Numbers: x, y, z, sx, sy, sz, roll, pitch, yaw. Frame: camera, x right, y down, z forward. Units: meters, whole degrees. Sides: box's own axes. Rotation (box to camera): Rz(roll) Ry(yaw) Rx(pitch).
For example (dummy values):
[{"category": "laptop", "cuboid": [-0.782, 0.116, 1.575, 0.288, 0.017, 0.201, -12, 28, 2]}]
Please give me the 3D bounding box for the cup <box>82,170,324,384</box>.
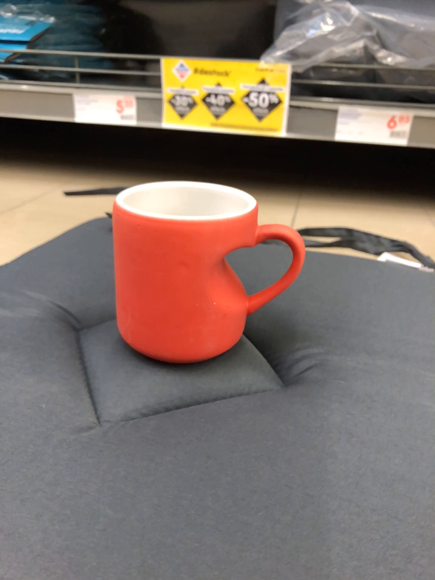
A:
[{"category": "cup", "cuboid": [-0.003, -0.015, 0.295, 0.120, 0.090, 0.091, 6, 25, 8]}]
